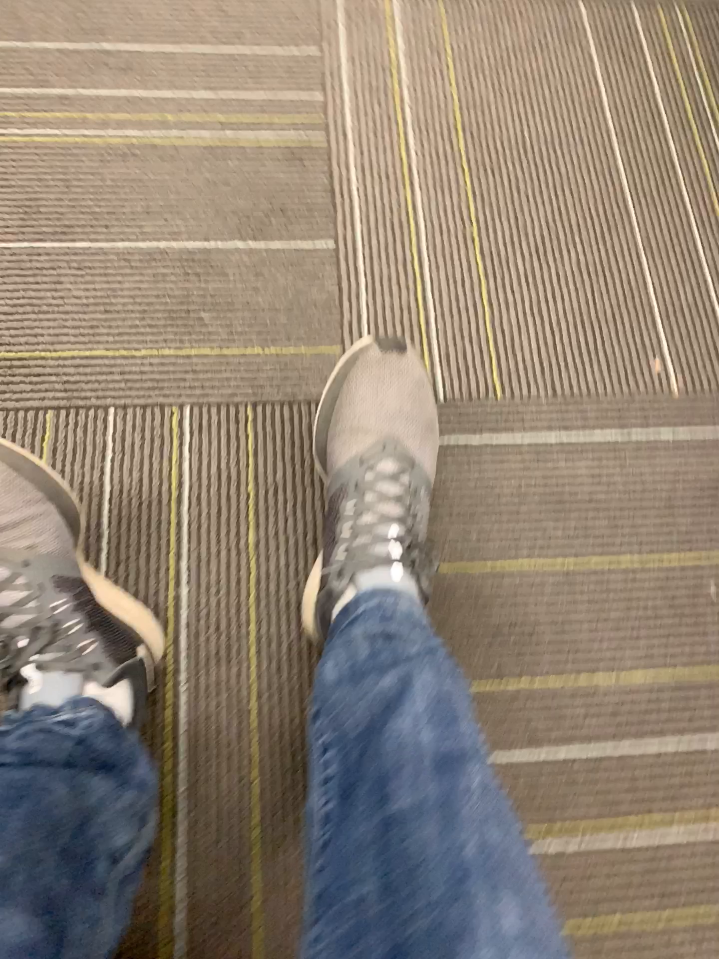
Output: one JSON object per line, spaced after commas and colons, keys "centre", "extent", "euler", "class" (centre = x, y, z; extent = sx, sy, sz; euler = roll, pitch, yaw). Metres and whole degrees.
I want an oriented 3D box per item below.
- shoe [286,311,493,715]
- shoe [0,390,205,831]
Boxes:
{"centre": [0.011, 0.024, 0.589], "extent": [0.119, 0.122, 0.294], "euler": [2, 106, -10], "class": "shoe"}
{"centre": [-0.229, 0.106, 0.528], "extent": [0.119, 0.294, 0.122], "euler": [-21, 38, -4], "class": "shoe"}
